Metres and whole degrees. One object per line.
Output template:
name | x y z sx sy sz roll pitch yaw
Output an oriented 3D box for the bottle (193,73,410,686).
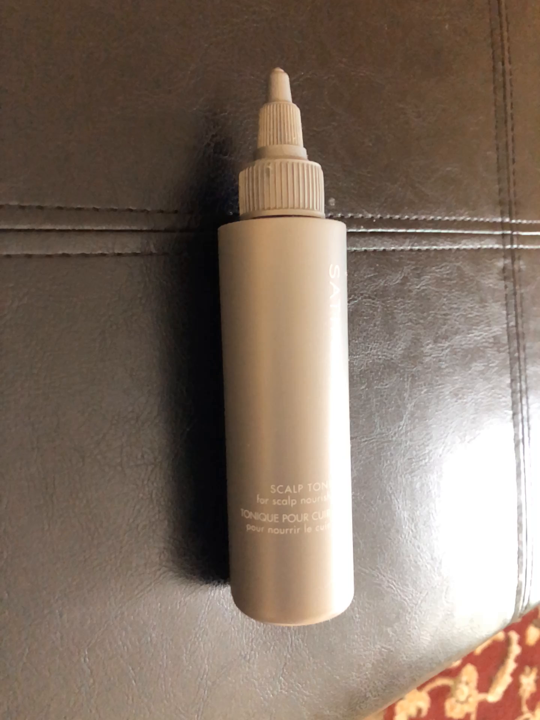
bottle | 0.009 0.005 0.166 0.040 0.040 0.140 -5 96 -36
